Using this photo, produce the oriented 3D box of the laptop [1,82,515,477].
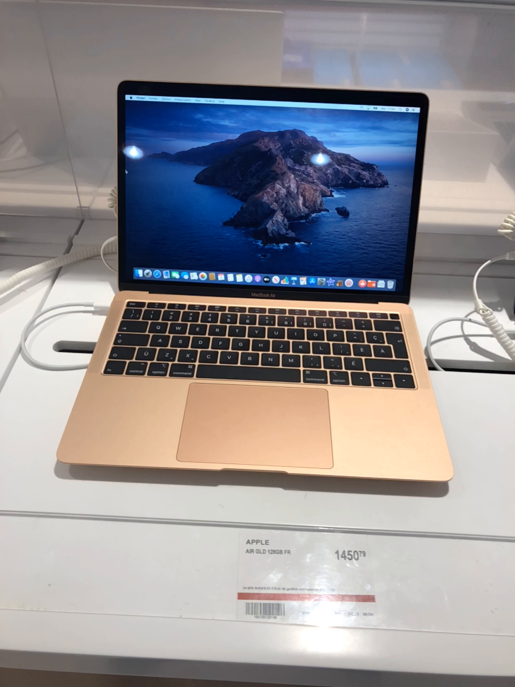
[{"bbox_3d":[0.006,-0.072,0.484,0.291,0.170,0.305,3,44,0],"label":"laptop"}]
